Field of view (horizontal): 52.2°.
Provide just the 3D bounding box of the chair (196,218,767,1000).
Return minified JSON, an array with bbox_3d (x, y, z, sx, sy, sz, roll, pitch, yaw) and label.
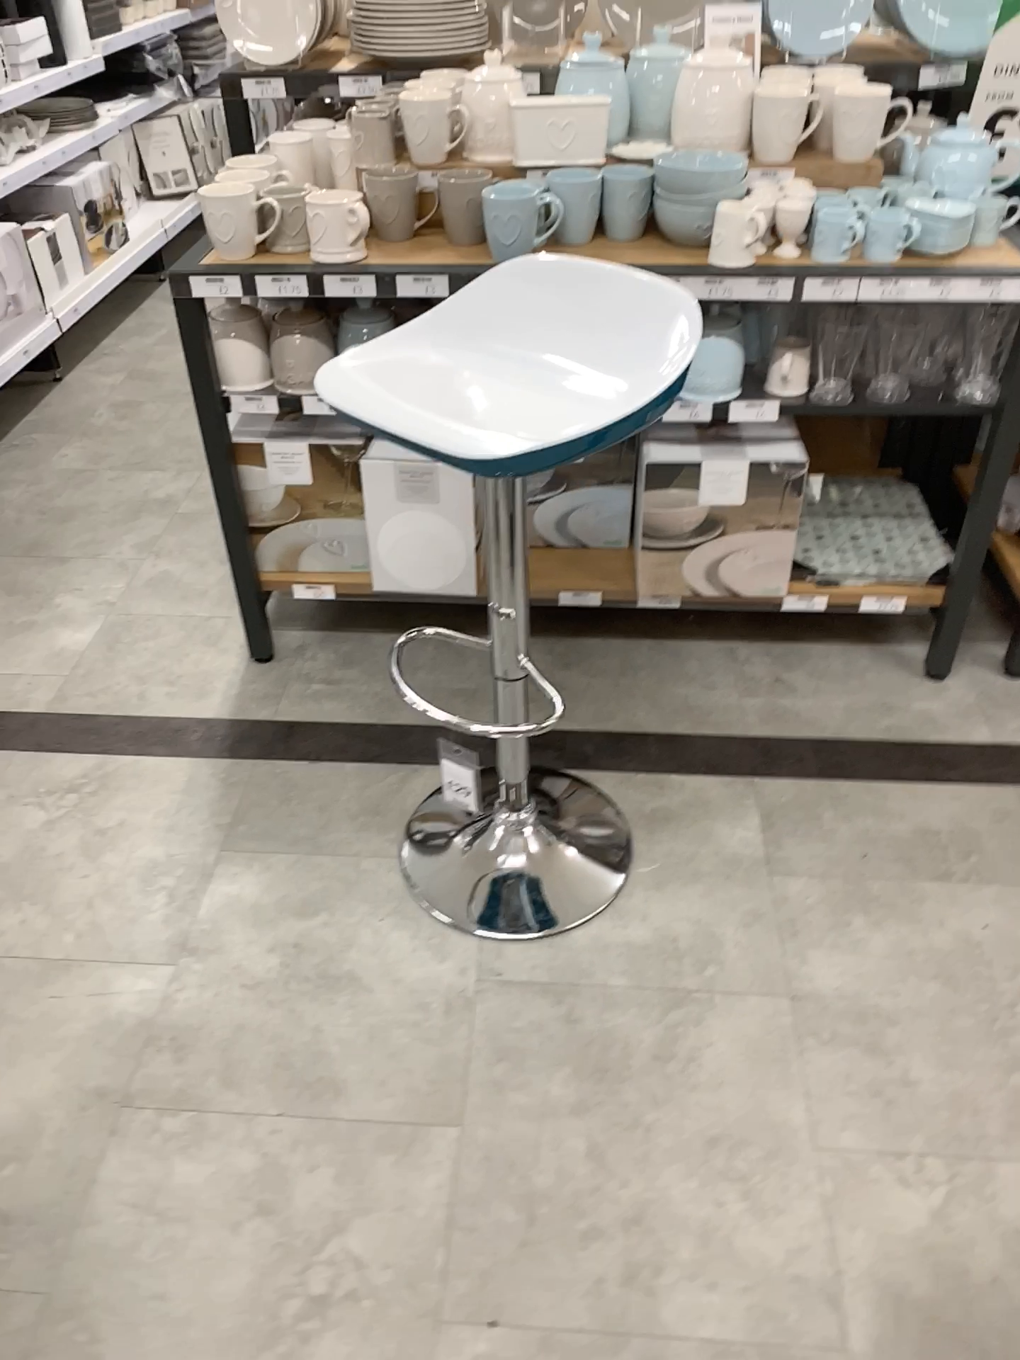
[{"bbox_3d":[-0.020,-0.091,1.380,0.456,0.825,0.422,29,48,34],"label":"chair"}]
